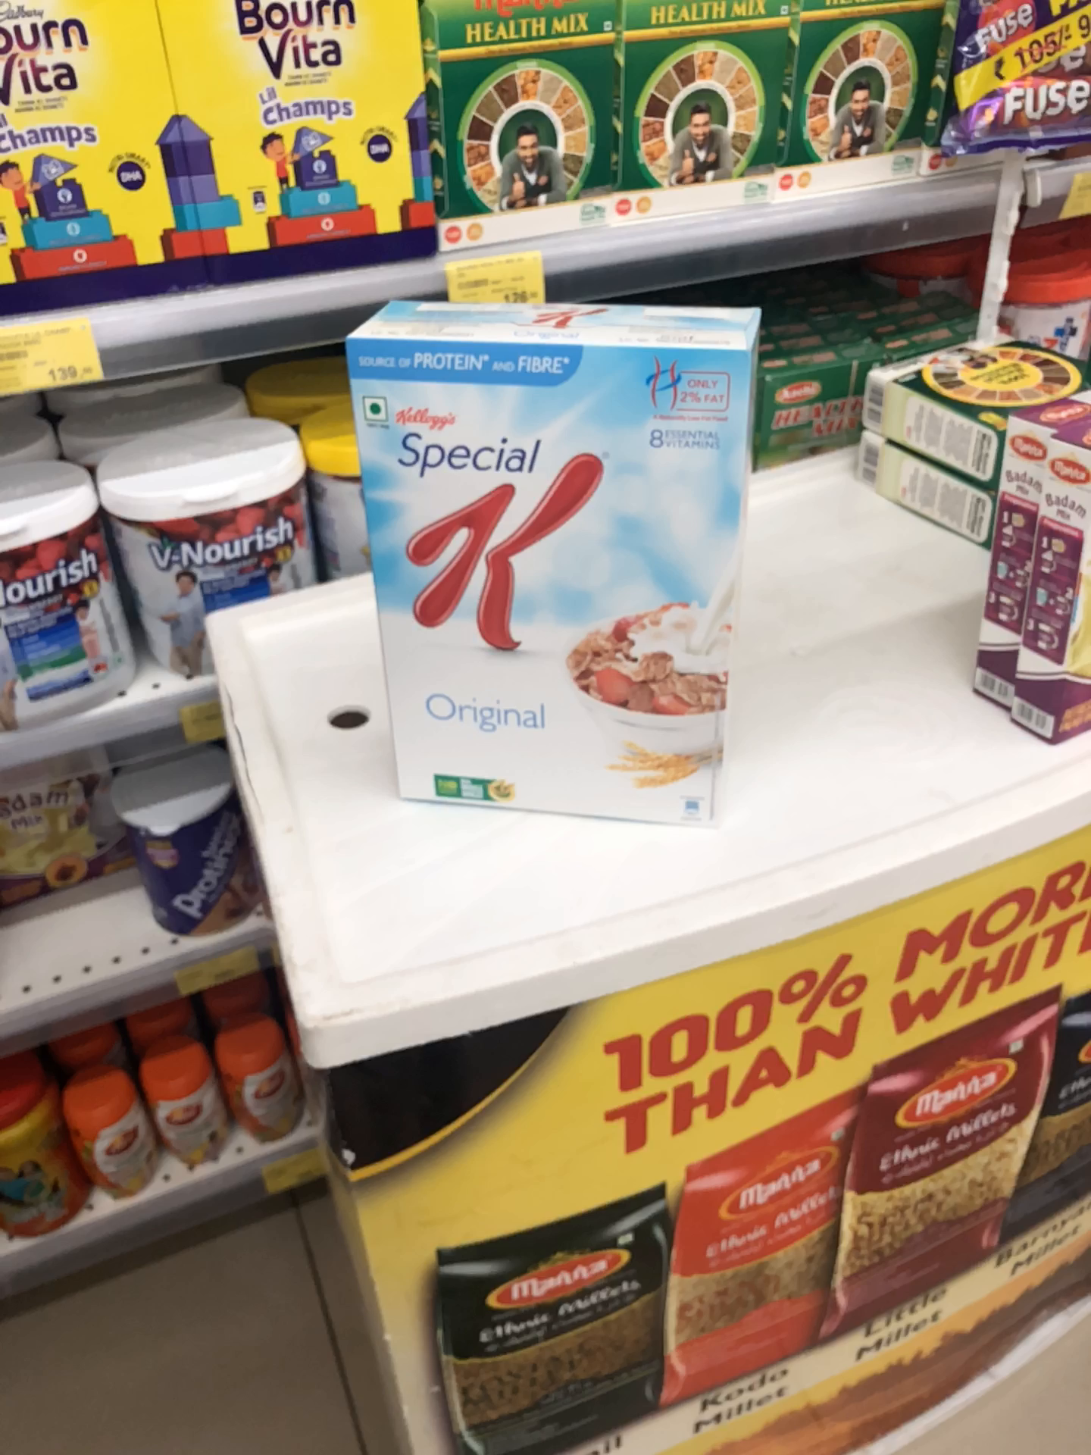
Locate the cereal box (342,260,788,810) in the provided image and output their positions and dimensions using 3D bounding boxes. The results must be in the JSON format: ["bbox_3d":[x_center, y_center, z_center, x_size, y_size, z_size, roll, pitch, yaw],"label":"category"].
[{"bbox_3d":[0.014,-0.091,0.615,0.190,0.259,0.070,5,34,10],"label":"cereal box"}]
